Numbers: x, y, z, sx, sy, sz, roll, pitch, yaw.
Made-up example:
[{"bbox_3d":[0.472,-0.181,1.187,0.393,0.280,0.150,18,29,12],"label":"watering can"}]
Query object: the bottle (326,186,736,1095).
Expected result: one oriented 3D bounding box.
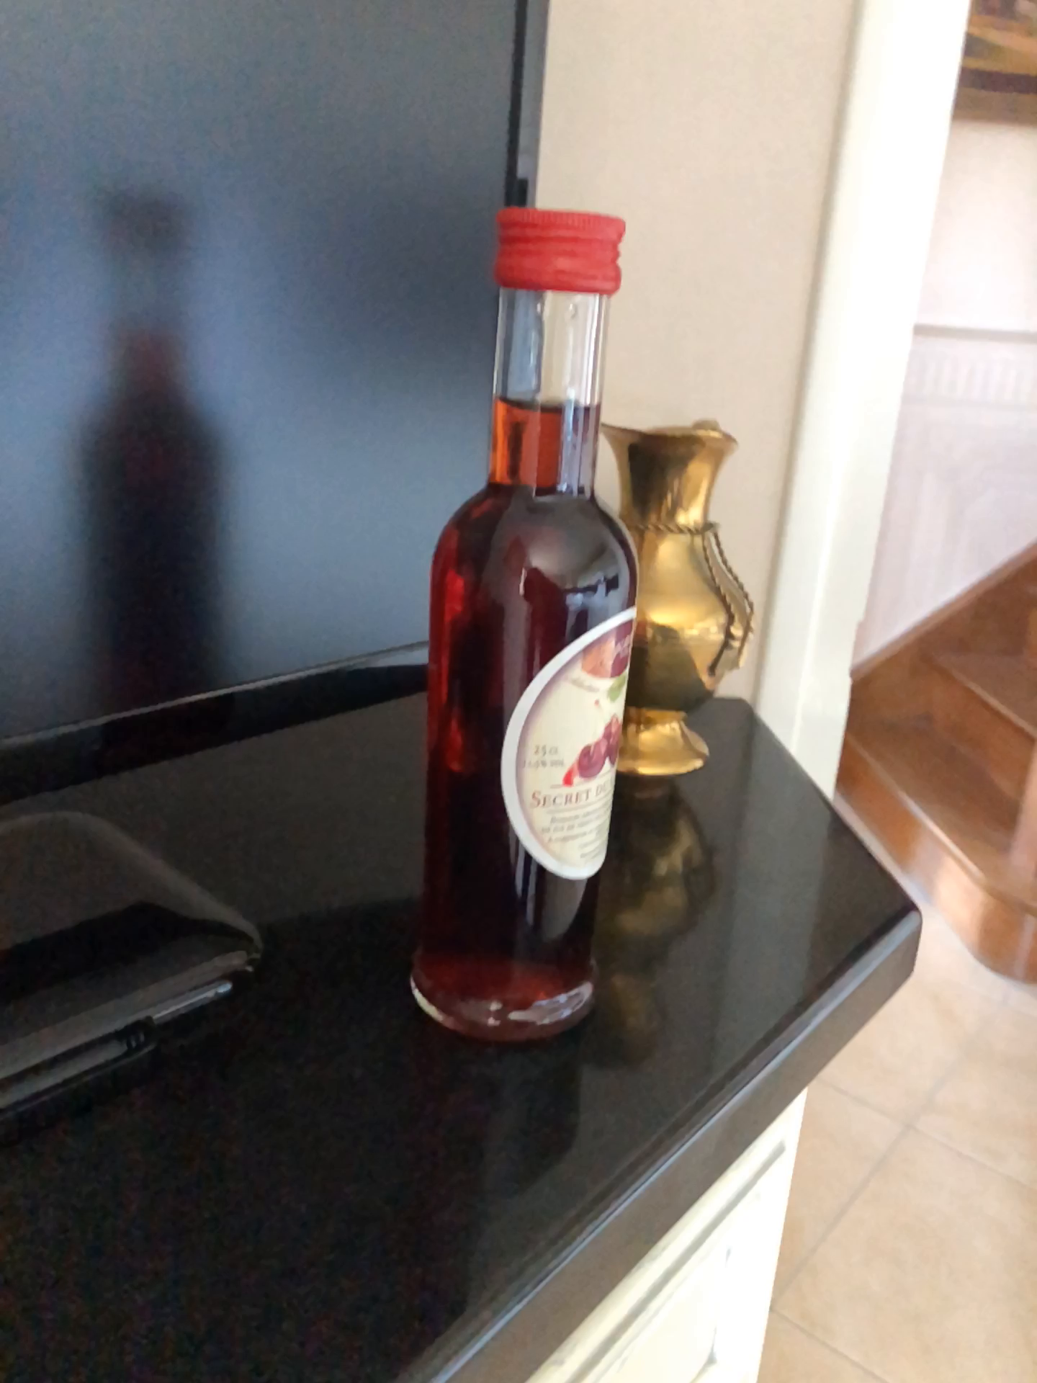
[{"bbox_3d":[-0.001,-0.014,0.312,0.070,0.219,0.070,4,19,-1],"label":"bottle"}]
